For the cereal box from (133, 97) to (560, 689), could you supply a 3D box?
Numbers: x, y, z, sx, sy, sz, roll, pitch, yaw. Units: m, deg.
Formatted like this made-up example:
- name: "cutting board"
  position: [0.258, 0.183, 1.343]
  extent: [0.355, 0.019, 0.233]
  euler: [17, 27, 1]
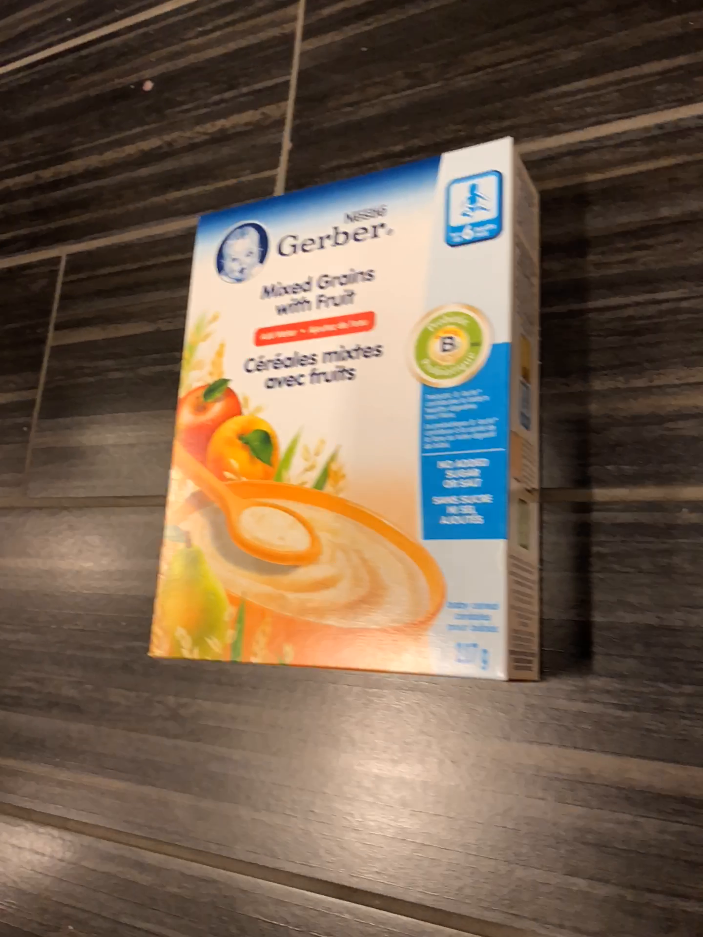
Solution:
- name: "cereal box"
  position: [-0.001, -0.023, 0.308]
  extent: [0.150, 0.050, 0.200]
  euler: [-4, 76, 27]
